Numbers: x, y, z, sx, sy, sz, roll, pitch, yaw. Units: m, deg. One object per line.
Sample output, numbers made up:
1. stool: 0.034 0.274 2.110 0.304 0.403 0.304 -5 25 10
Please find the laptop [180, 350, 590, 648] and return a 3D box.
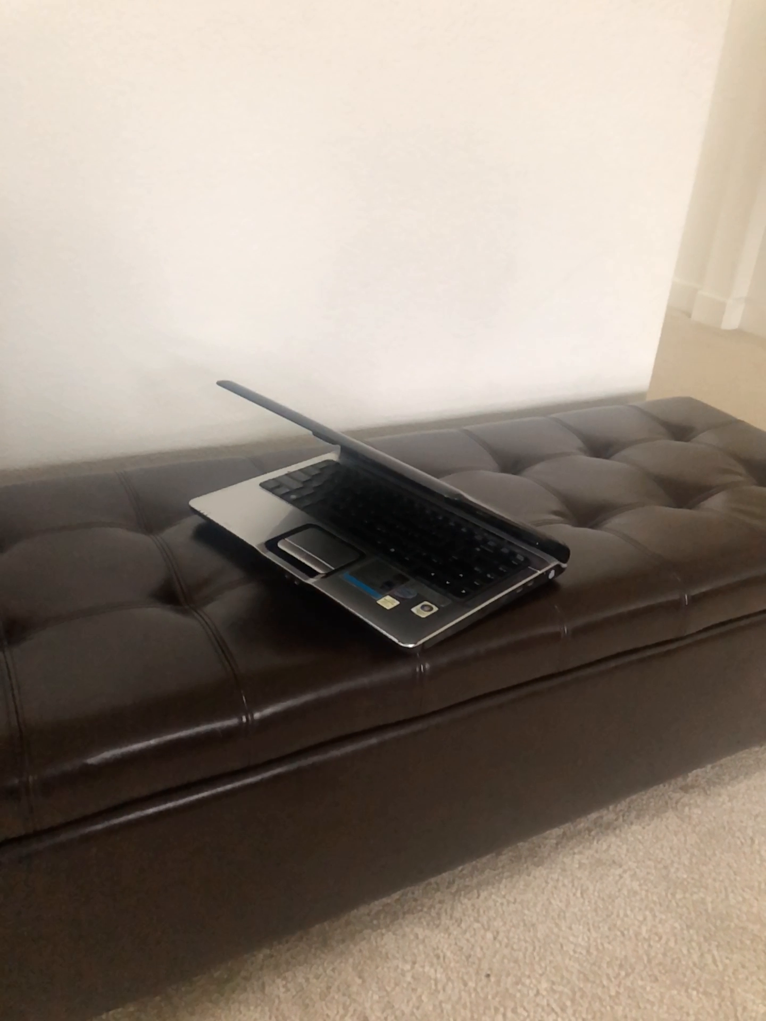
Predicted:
1. laptop: -0.009 -0.038 0.826 0.230 0.122 0.333 -21 36 -40
